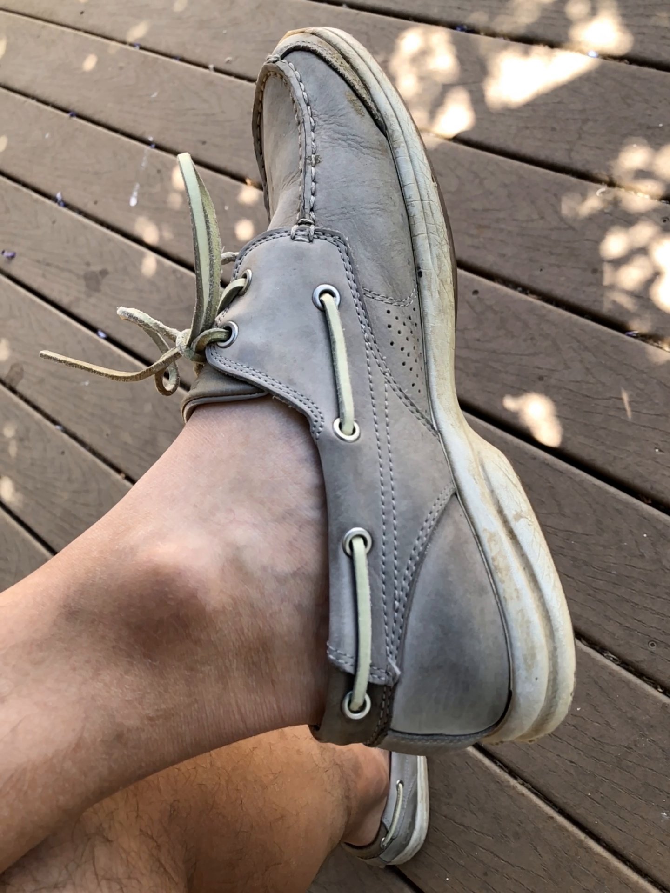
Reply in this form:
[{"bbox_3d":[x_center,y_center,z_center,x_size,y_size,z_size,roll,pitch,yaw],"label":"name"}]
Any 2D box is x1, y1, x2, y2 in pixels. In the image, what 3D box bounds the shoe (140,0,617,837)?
[{"bbox_3d":[-0.009,-0.035,0.287,0.106,0.113,0.303,-3,72,-18],"label":"shoe"}]
